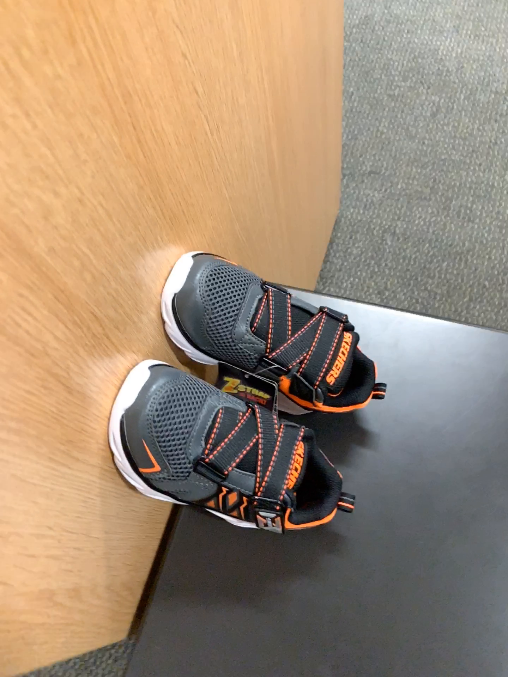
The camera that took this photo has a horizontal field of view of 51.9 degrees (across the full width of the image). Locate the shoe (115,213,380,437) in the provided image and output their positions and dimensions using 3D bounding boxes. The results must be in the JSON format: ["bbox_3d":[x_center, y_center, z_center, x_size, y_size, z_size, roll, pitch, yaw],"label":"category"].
[{"bbox_3d":[0.003,-0.002,0.423,0.100,0.180,0.090,0,62,46],"label":"shoe"}]

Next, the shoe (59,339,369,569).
[{"bbox_3d":[-0.018,0.083,0.369,0.100,0.180,0.090,0,62,46],"label":"shoe"}]
